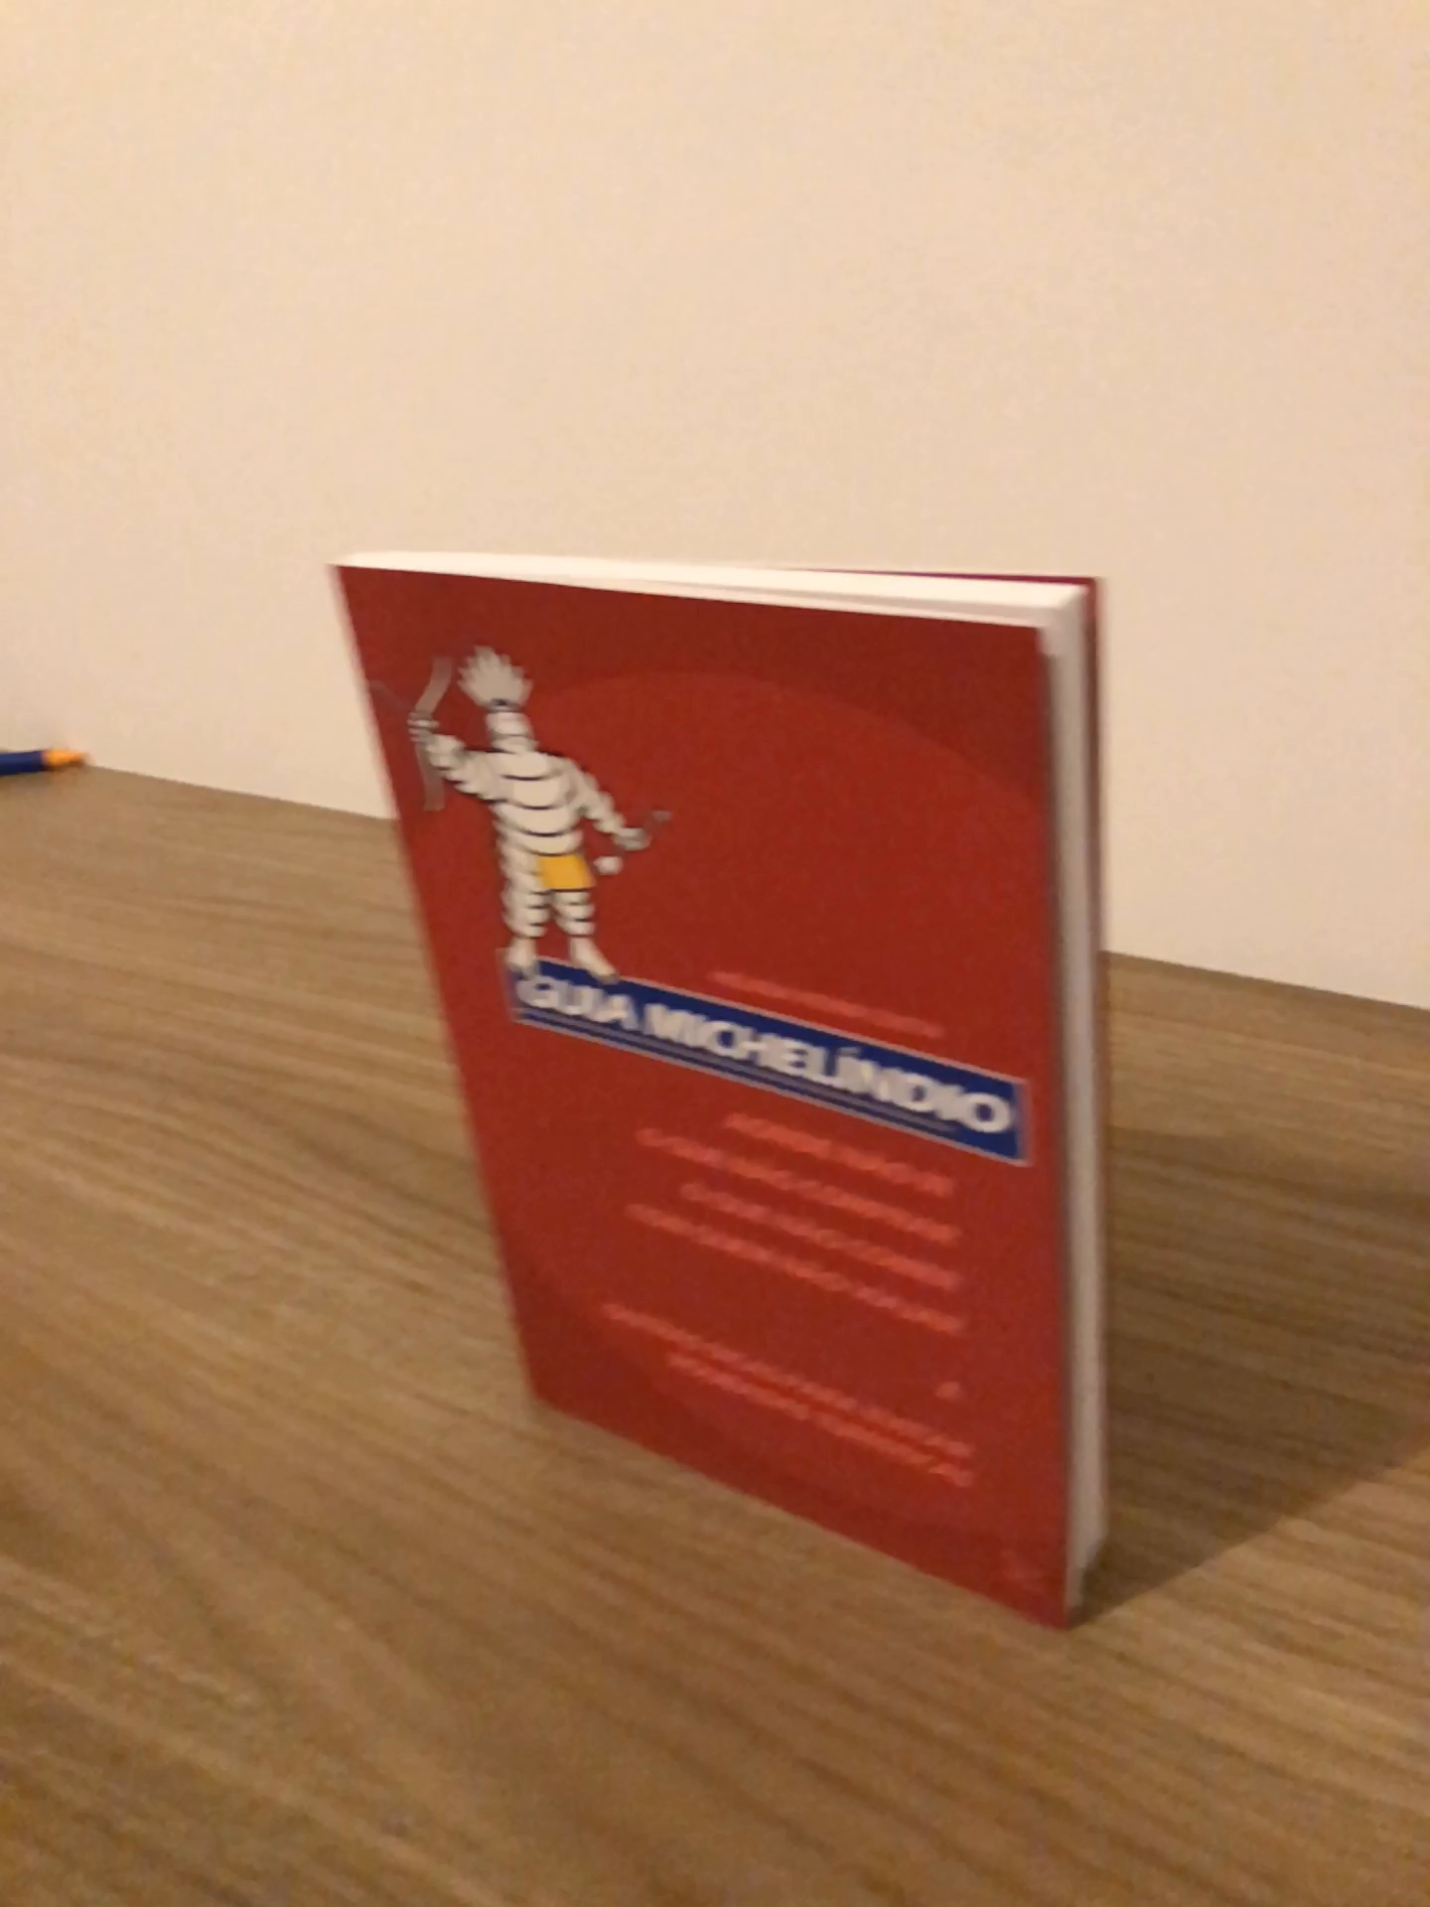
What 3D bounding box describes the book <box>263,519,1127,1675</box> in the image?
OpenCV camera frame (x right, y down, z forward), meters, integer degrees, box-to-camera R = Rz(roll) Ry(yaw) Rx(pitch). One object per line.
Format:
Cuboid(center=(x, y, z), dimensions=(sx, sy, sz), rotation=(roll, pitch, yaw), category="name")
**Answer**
Cuboid(center=(0.002, 0.030, 0.303), dimensions=(0.150, 0.218, 0.020), rotation=(12, 35, 32), category="book")
